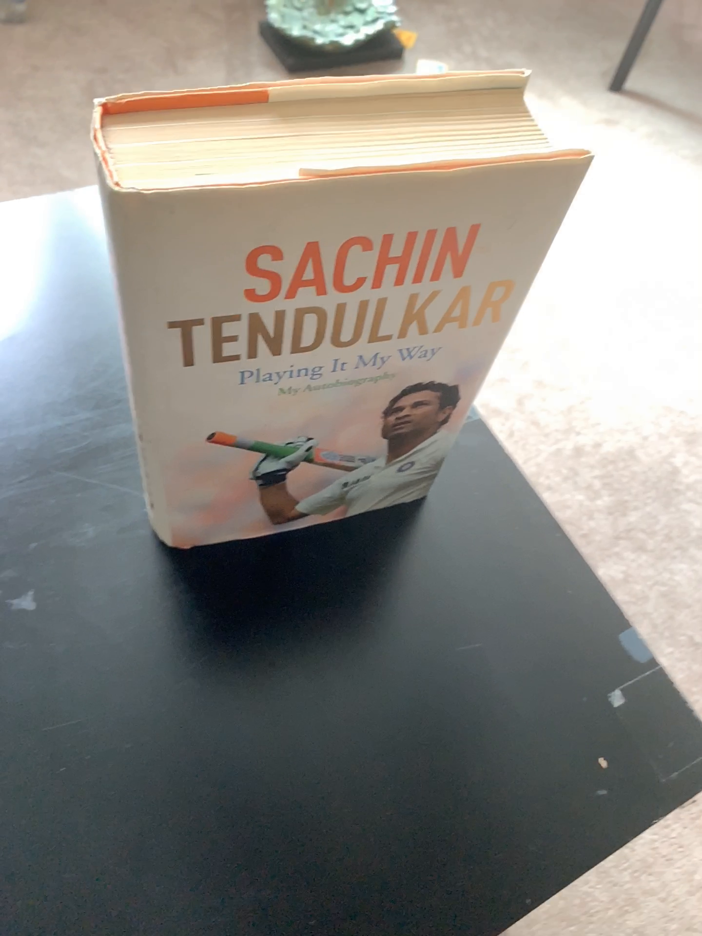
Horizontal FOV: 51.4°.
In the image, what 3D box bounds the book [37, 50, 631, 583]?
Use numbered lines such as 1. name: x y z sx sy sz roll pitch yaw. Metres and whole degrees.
1. book: -0.018 -0.044 0.319 0.170 0.238 0.060 -10 60 -15
